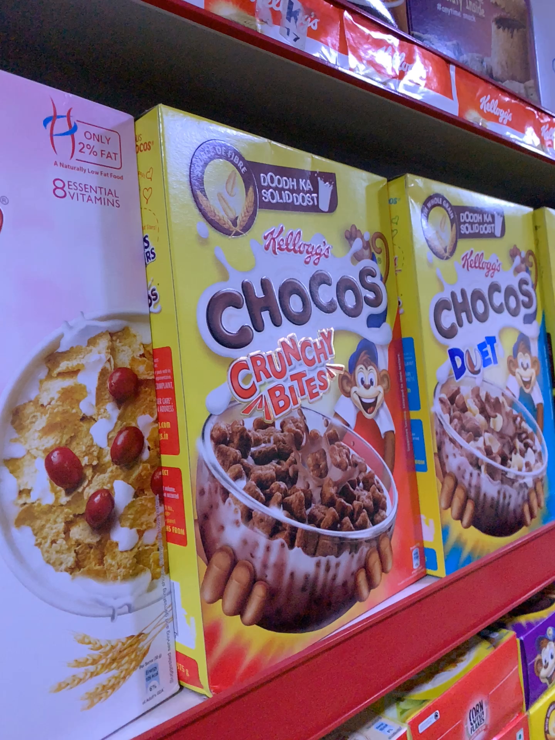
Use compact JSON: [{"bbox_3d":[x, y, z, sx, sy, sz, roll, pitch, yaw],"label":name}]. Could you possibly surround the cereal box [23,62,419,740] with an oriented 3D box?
[{"bbox_3d":[-0.016,0.009,0.316,0.080,0.260,0.190,-8,-3,40],"label":"cereal box"}]
